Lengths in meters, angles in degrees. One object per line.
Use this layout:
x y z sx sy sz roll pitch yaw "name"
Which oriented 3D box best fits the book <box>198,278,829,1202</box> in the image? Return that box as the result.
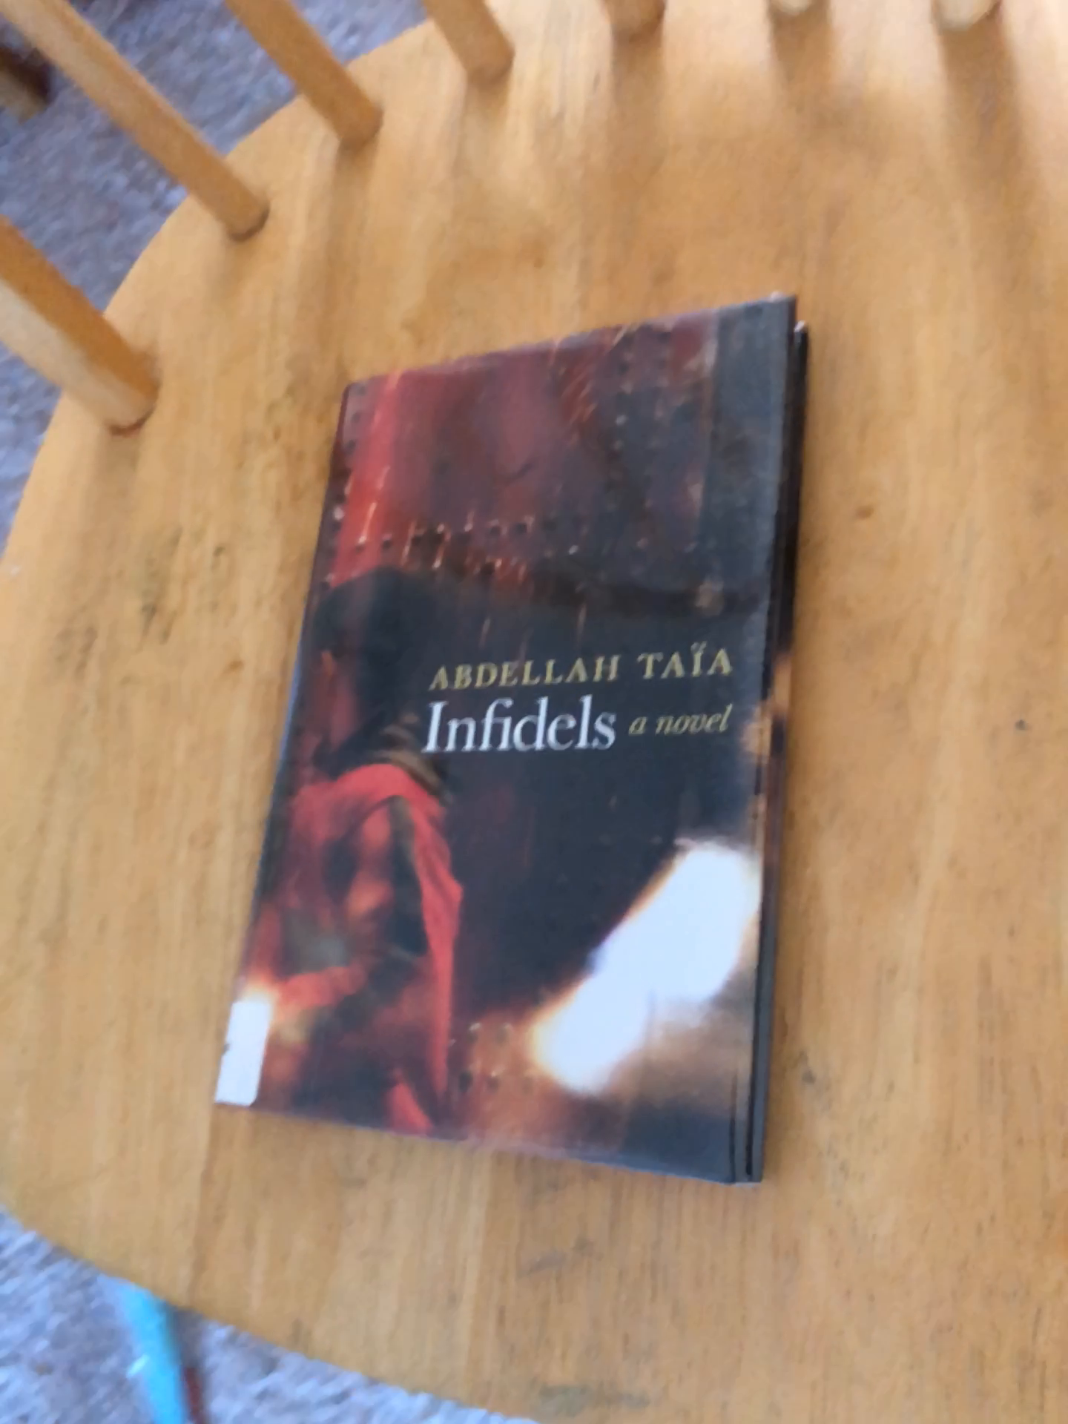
-0.004 -0.001 0.310 0.143 0.020 0.216 -2 70 29 "book"
